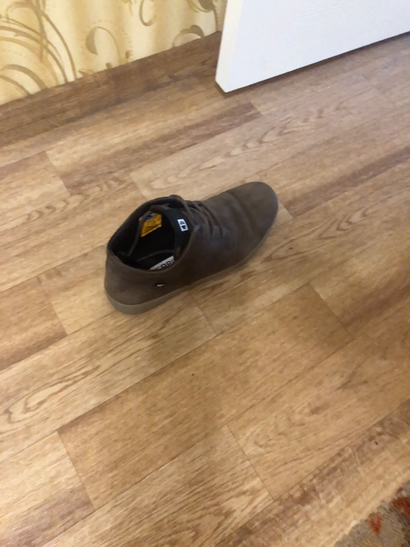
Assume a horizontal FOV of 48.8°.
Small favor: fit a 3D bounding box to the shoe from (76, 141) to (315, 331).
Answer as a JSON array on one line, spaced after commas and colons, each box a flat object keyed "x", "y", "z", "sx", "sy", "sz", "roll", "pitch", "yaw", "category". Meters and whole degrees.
[{"x": -0.009, "y": -0.051, "z": 0.573, "sx": 0.270, "sy": 0.100, "sz": 0.100, "roll": -28, "pitch": 69, "yaw": -19, "category": "shoe"}]
